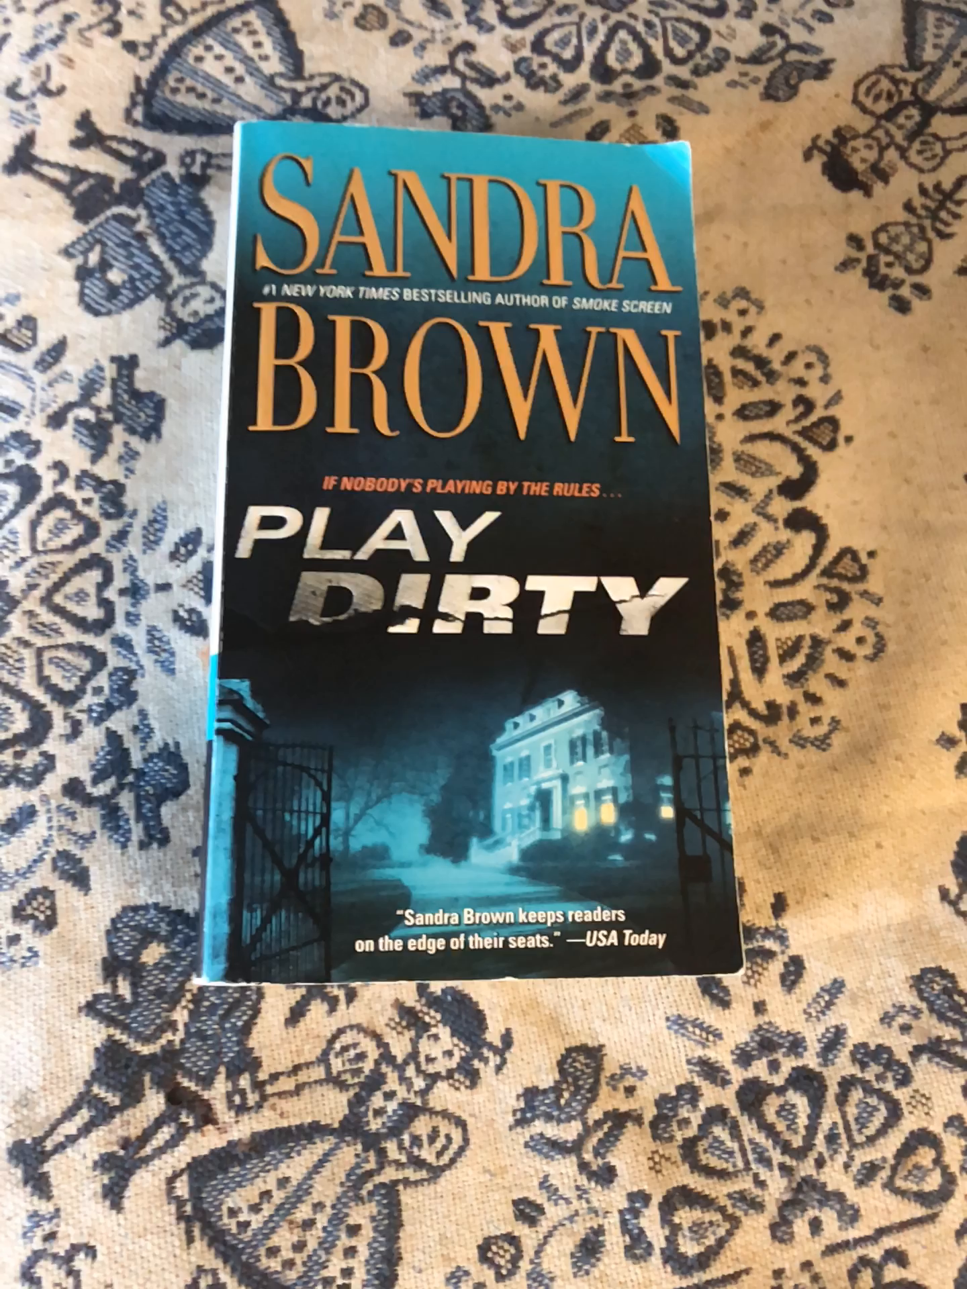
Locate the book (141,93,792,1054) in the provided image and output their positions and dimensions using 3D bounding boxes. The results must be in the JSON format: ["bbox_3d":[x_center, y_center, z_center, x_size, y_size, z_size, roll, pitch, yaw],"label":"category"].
[{"bbox_3d":[-0.005,-0.017,0.220,0.110,0.040,0.180,0,78,-6],"label":"book"}]
